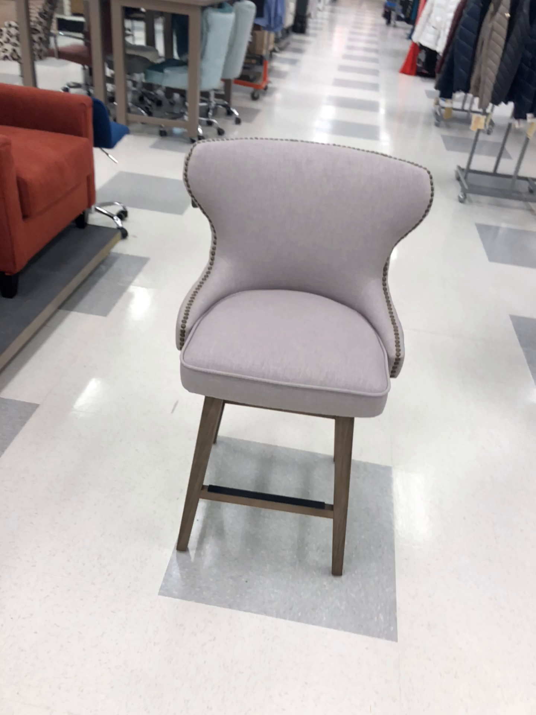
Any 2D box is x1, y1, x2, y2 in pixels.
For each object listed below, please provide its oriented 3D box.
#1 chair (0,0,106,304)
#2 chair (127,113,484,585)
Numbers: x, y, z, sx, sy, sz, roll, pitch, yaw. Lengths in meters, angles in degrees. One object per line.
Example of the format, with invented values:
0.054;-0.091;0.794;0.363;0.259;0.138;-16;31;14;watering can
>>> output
-1.377;-0.952;2.514;0.996;0.969;0.915;11;34;6;chair
0.037;0.005;1.470;0.608;0.999;0.480;8;34;2;chair
